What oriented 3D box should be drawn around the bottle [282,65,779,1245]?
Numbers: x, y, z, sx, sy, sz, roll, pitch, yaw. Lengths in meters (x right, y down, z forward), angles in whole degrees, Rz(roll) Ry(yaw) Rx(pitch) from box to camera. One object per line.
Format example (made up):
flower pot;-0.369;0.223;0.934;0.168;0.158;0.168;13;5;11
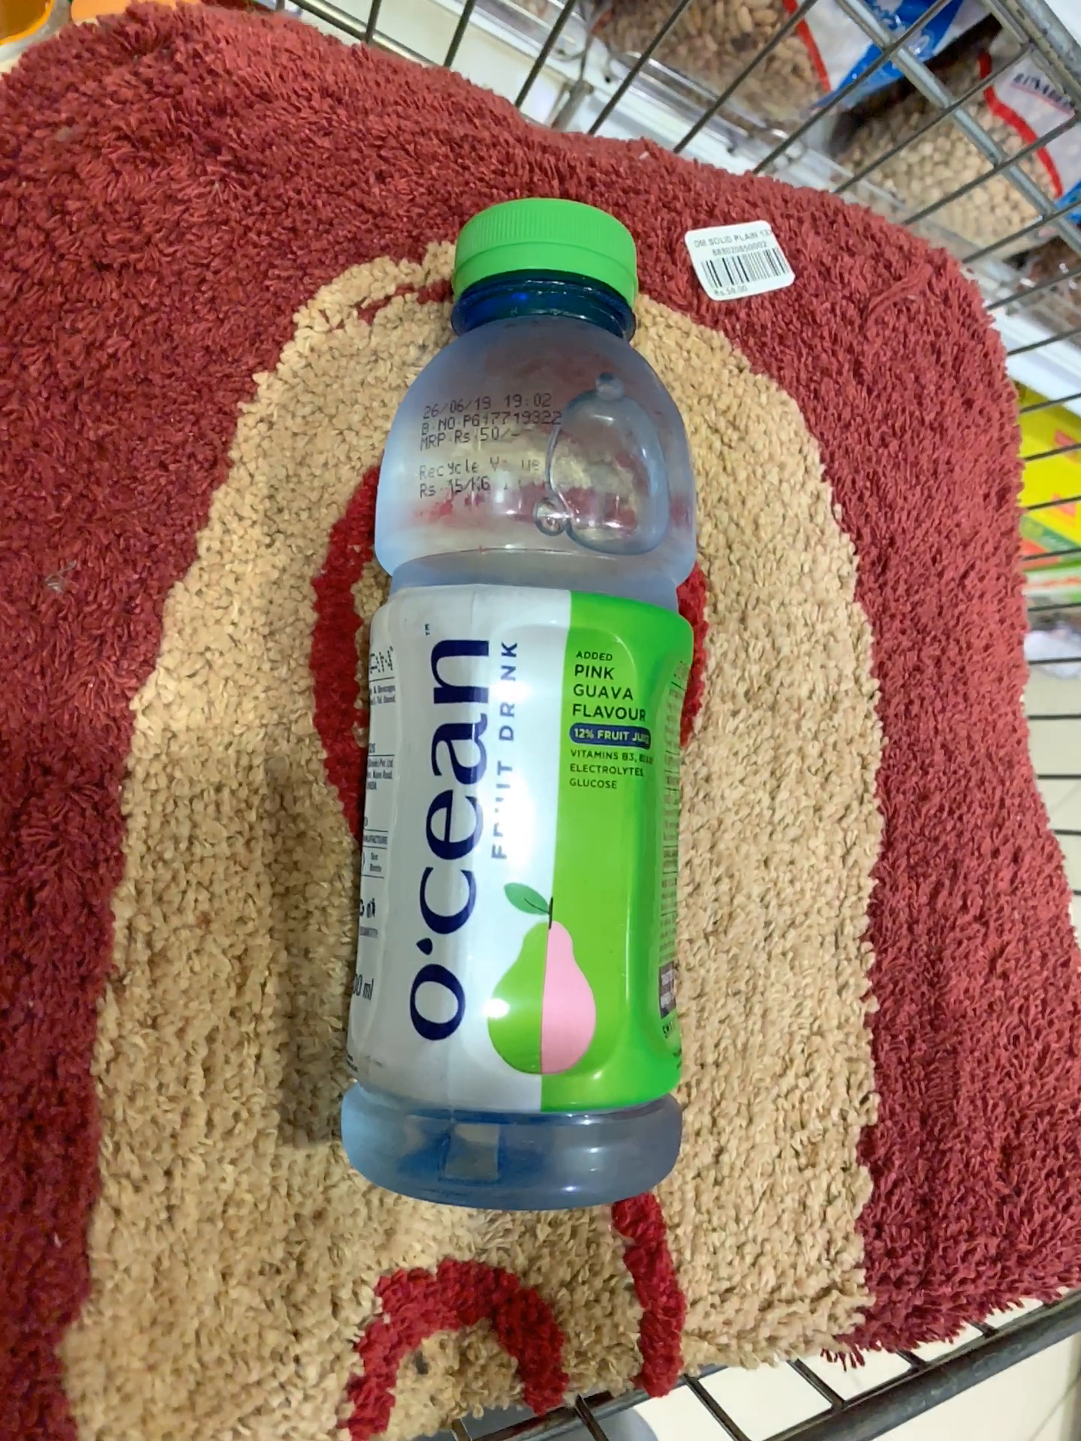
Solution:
bottle;-0.002;-0.012;0.236;0.080;0.070;0.210;3;85;-4
